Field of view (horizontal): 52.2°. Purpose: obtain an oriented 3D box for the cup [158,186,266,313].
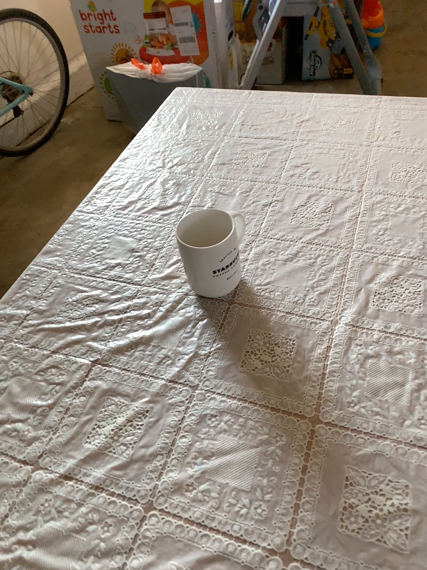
[{"bbox_3d":[0.004,-0.054,0.650,0.090,0.110,0.130,24,58,26],"label":"cup"}]
